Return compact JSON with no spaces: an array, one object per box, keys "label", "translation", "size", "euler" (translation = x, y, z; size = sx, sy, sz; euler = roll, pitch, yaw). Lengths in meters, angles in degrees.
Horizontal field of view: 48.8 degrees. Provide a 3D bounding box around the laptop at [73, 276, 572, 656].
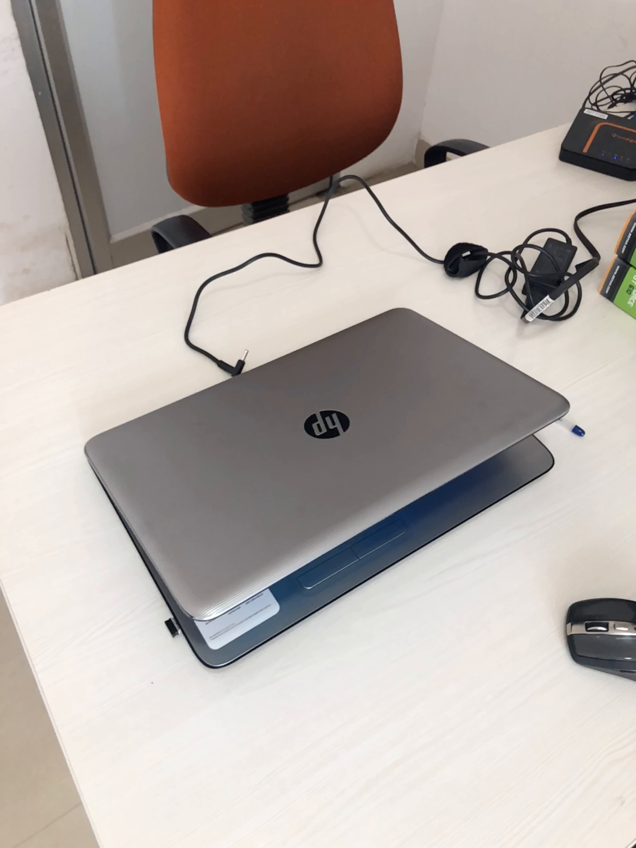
[{"label":"laptop","translation":[0.006,0.010,0.624],"size":[0.356,0.062,0.226],"euler":[-26,56,-22]}]
